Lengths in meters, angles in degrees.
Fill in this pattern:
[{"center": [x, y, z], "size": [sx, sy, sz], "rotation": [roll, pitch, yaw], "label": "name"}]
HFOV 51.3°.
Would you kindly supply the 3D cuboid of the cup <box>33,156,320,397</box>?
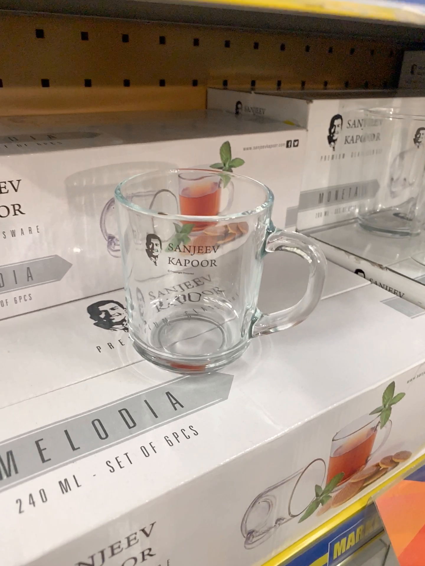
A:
[{"center": [-0.012, -0.007, 0.202], "size": [0.100, 0.080, 0.070], "rotation": [4, 27, 3], "label": "cup"}]
